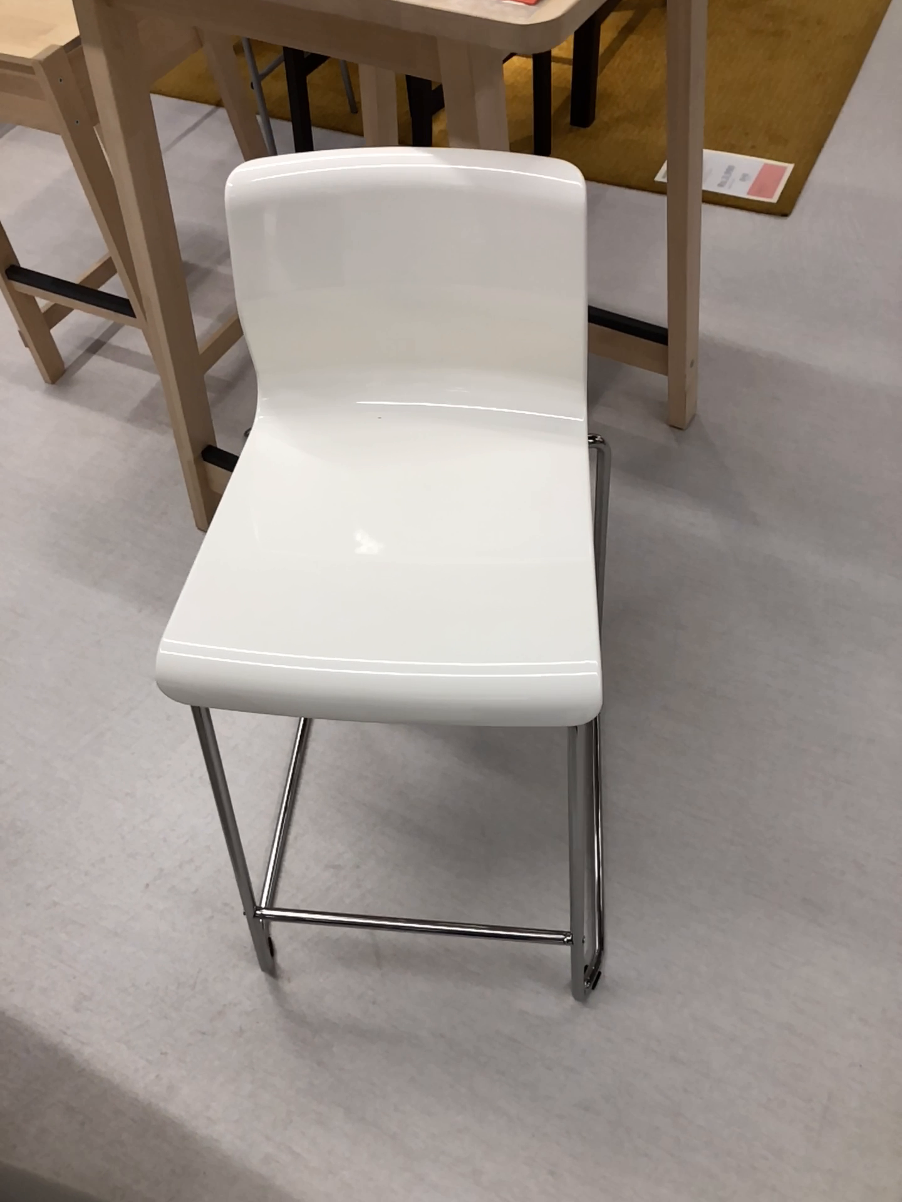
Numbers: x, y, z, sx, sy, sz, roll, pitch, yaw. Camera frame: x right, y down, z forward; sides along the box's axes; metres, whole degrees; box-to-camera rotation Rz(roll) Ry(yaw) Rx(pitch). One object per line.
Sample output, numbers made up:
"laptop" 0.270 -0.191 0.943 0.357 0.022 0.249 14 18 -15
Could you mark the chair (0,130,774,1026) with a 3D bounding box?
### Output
"chair" -0.027 0.045 1.061 0.500 0.825 0.553 1 53 5
